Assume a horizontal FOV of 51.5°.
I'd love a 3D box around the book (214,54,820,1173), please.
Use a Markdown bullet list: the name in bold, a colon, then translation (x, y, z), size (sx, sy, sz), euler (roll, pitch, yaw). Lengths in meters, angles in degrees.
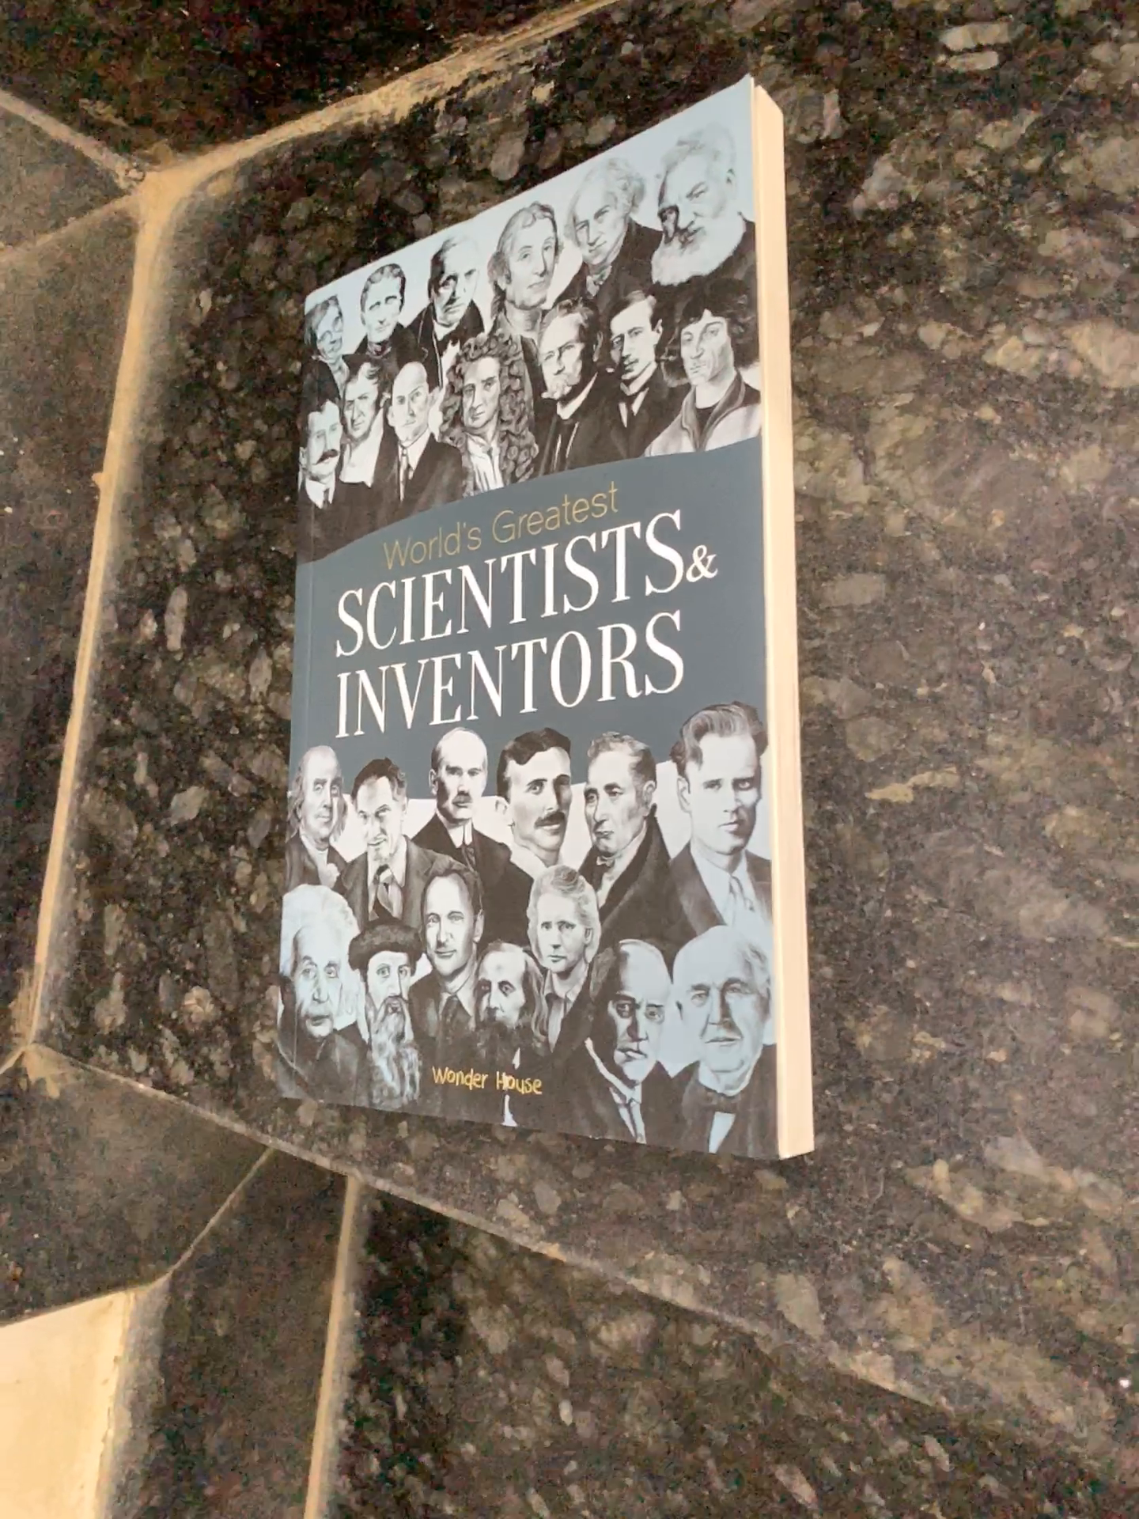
- **book**: translation (-0.018, -0.026, 0.253), size (0.141, 0.020, 0.200), euler (-6, 79, 36)
